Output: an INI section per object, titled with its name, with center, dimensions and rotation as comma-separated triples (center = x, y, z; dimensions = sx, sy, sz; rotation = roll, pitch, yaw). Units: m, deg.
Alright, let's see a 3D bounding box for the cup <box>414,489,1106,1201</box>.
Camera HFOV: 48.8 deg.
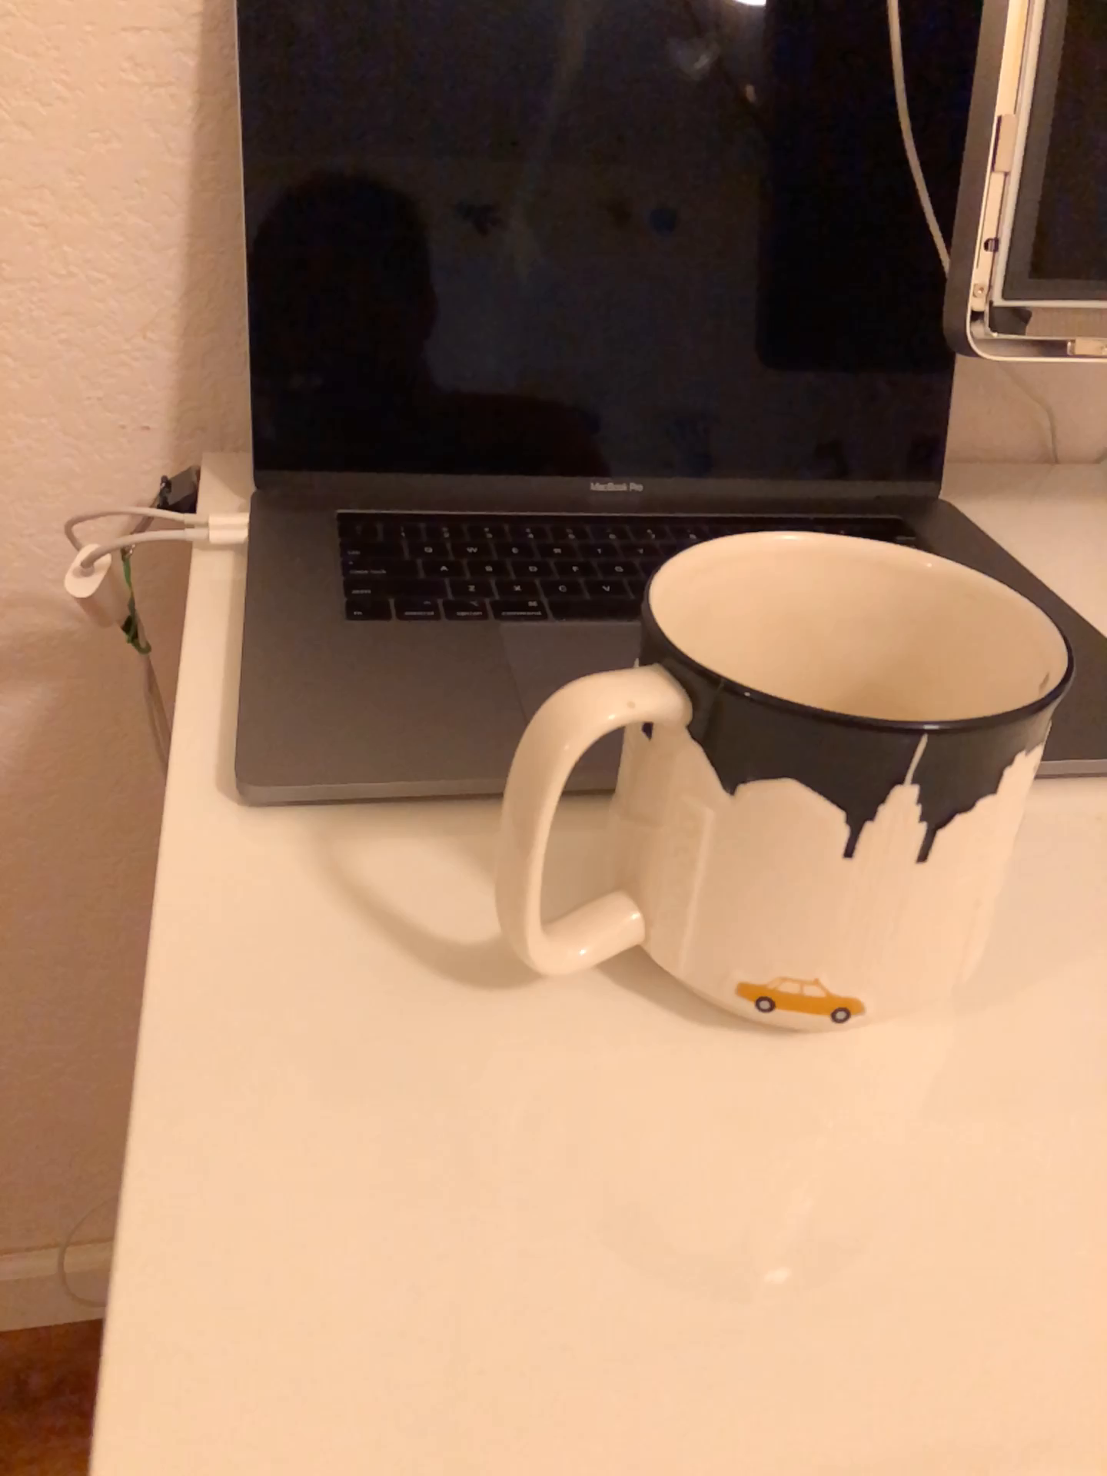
[cup]
center = 0.057, 0.013, 0.310
dimensions = 0.150, 0.099, 0.110
rotation = -15, 37, -28
